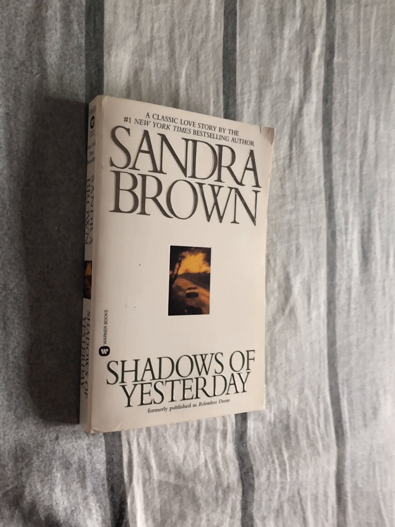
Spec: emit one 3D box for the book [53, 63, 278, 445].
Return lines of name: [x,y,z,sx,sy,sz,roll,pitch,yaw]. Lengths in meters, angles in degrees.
book: [-0.013,-0.002,0.251,0.120,0.030,0.180,3,89,-33]
